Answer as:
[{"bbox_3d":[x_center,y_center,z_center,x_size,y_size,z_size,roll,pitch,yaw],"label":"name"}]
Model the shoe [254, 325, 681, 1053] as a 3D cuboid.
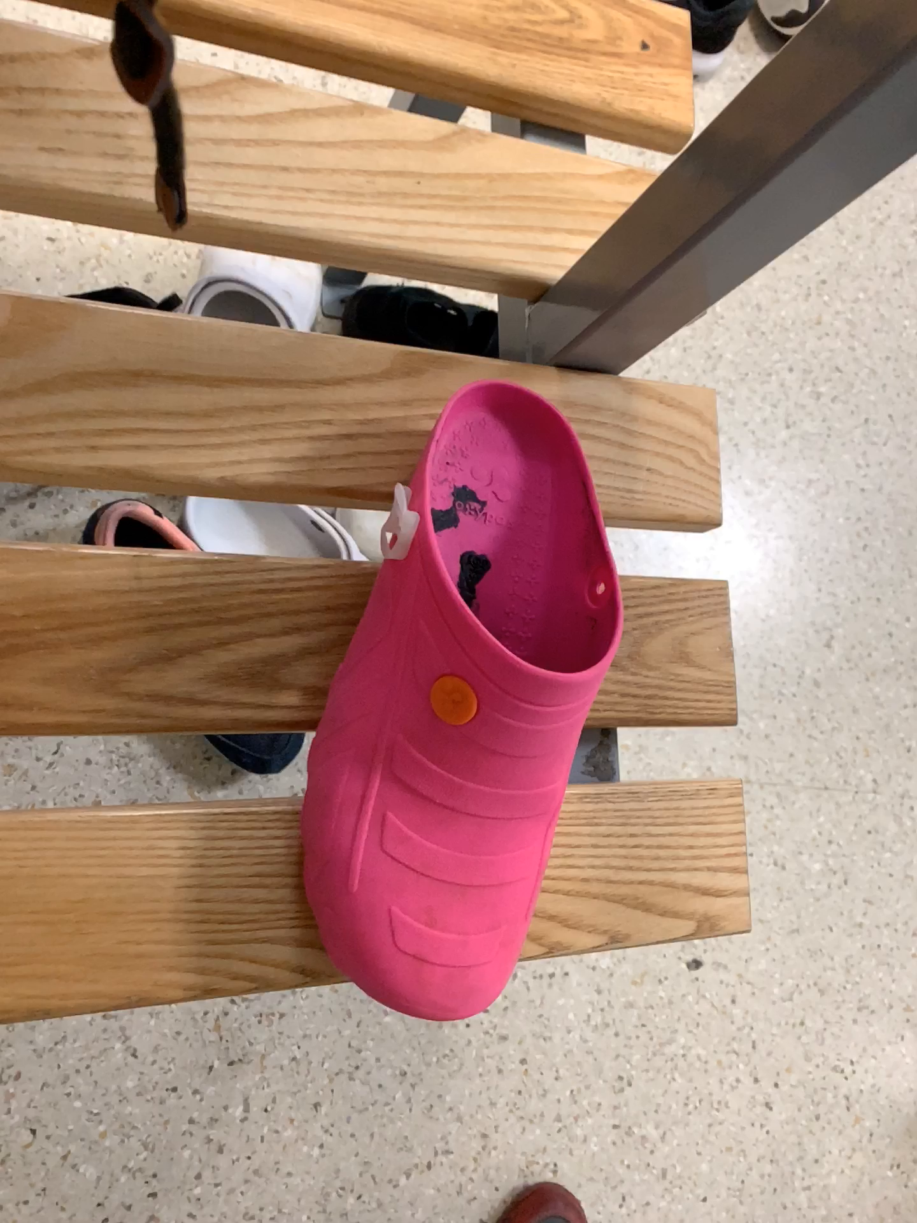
[{"bbox_3d":[0.005,0.026,0.337,0.096,0.068,0.221,16,76,-18],"label":"shoe"}]
